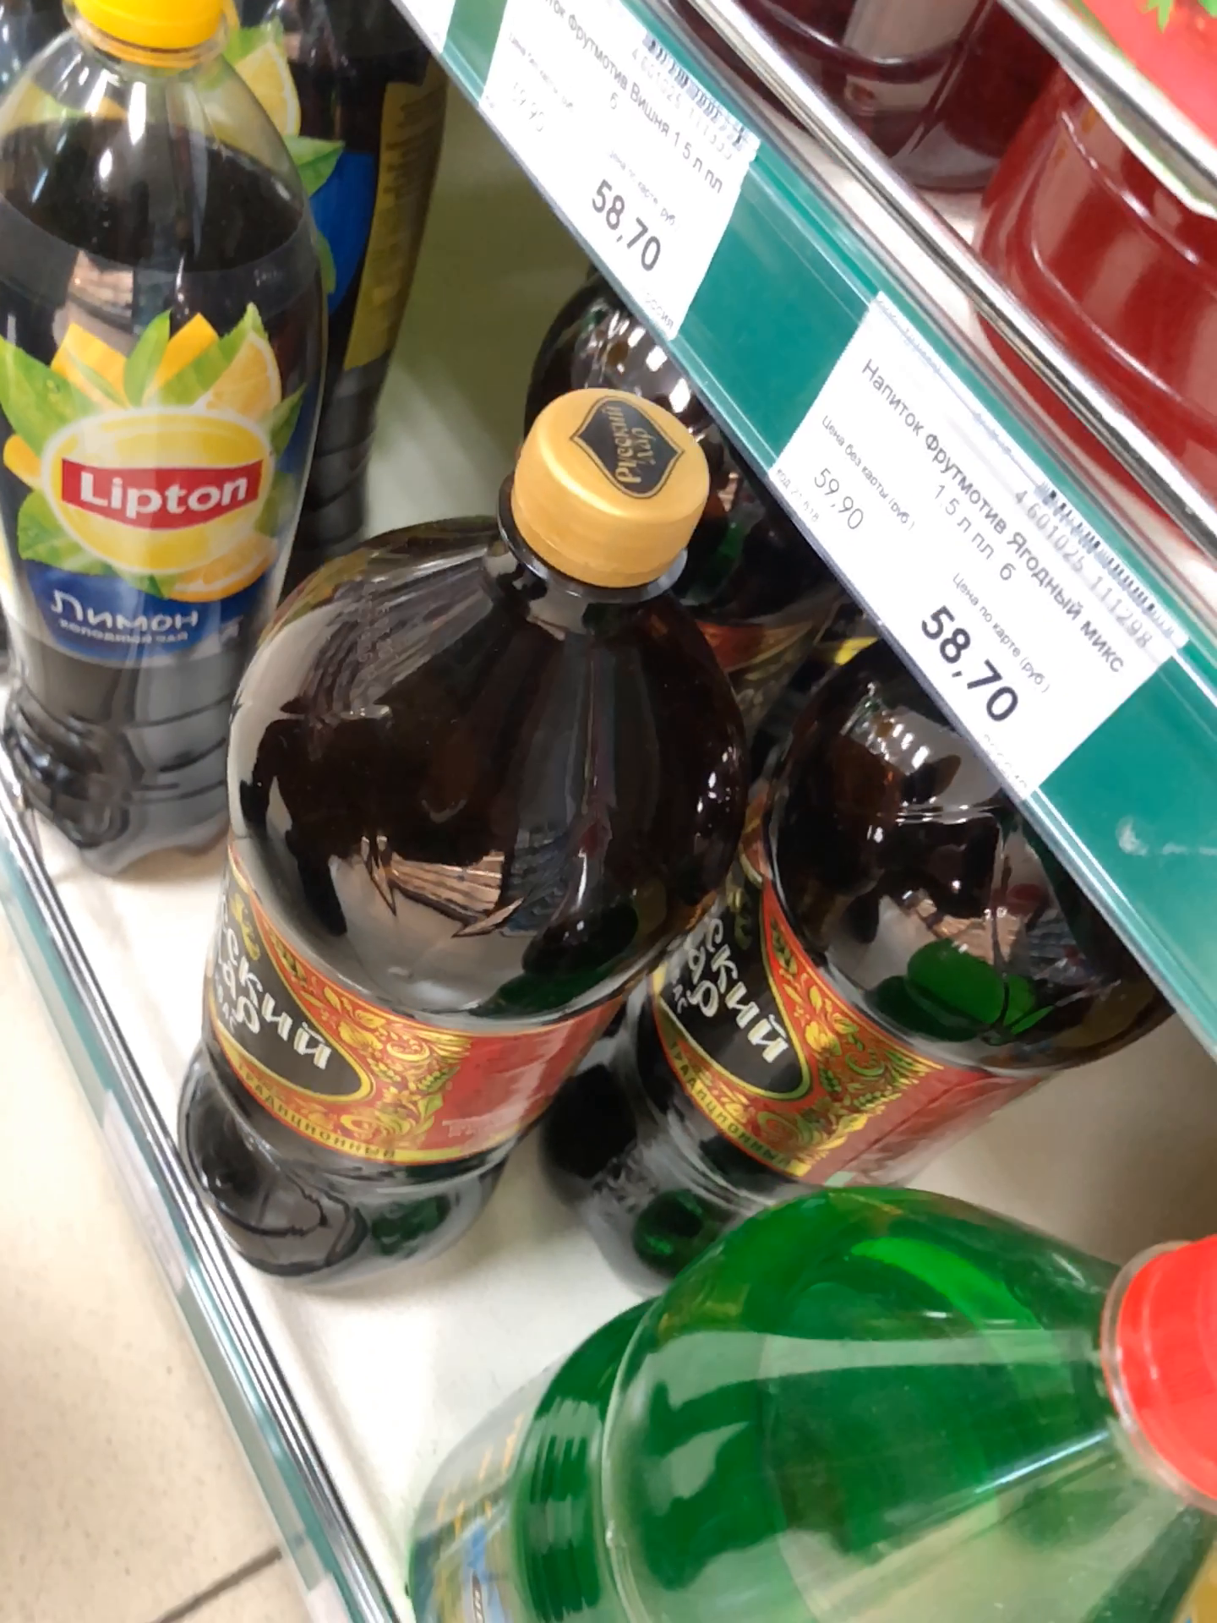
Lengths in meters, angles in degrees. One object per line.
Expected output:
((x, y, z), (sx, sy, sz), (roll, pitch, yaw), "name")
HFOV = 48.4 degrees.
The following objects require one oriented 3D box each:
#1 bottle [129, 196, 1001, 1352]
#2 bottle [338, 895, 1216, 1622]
((-0.050, 0.027, 0.339), (0.100, 0.322, 0.110), (9, 56, -13), "bottle")
((0.021, 0.149, 0.285), (0.085, 0.327, 0.099), (-17, 65, -28), "bottle")
